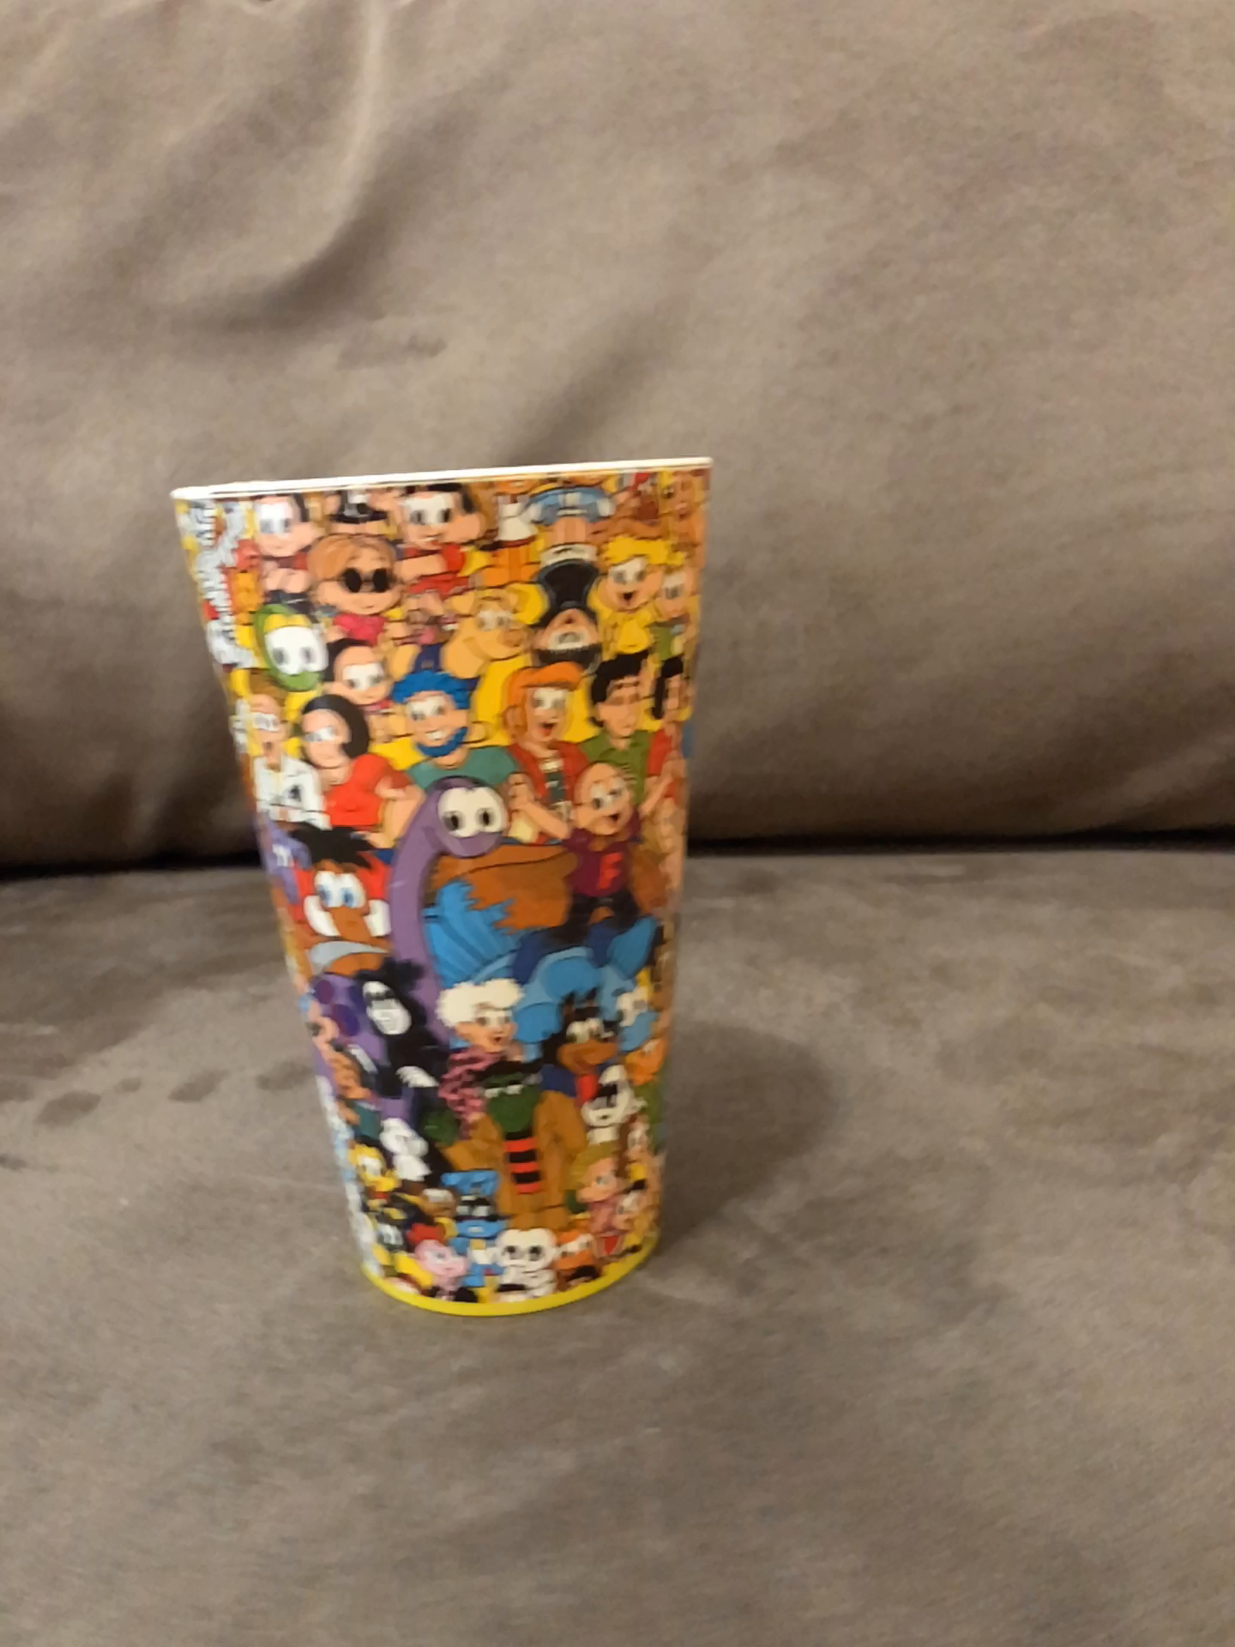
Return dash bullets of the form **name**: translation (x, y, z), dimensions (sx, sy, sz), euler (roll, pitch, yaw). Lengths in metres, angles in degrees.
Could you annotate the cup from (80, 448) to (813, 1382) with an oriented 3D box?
- **cup**: translation (-0.029, 0.005, 0.264), dimensions (0.090, 0.139, 0.090), euler (-4, 12, 1)
